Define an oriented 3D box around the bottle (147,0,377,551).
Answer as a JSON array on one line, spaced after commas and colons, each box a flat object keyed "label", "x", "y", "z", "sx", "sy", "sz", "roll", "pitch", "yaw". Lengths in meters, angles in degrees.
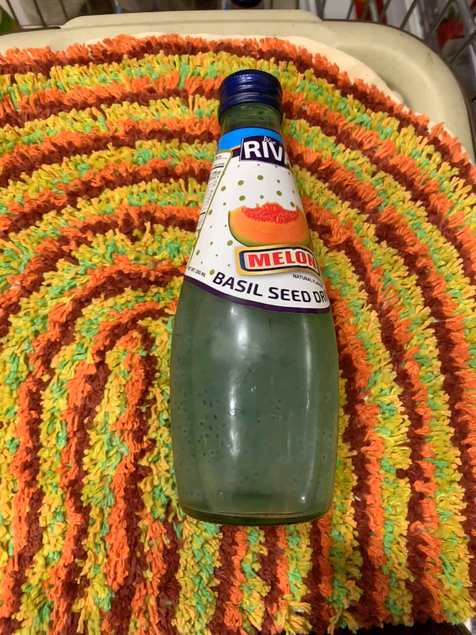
[{"label": "bottle", "x": 0.005, "y": -0.017, "z": 0.190, "sx": 0.060, "sy": 0.060, "sz": 0.180, "roll": 5, "pitch": 76, "yaw": -21}]
